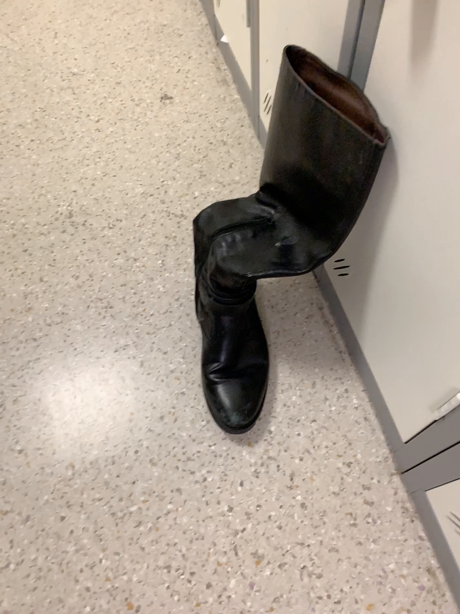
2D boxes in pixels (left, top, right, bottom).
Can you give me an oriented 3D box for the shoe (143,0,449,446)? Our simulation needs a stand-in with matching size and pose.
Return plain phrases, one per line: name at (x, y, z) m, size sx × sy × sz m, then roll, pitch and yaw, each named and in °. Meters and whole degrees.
shoe at (0.028, -0.062, 0.488) m, size 0.167 × 0.331 × 0.315 m, roll -6°, pitch 61°, yaw -2°
